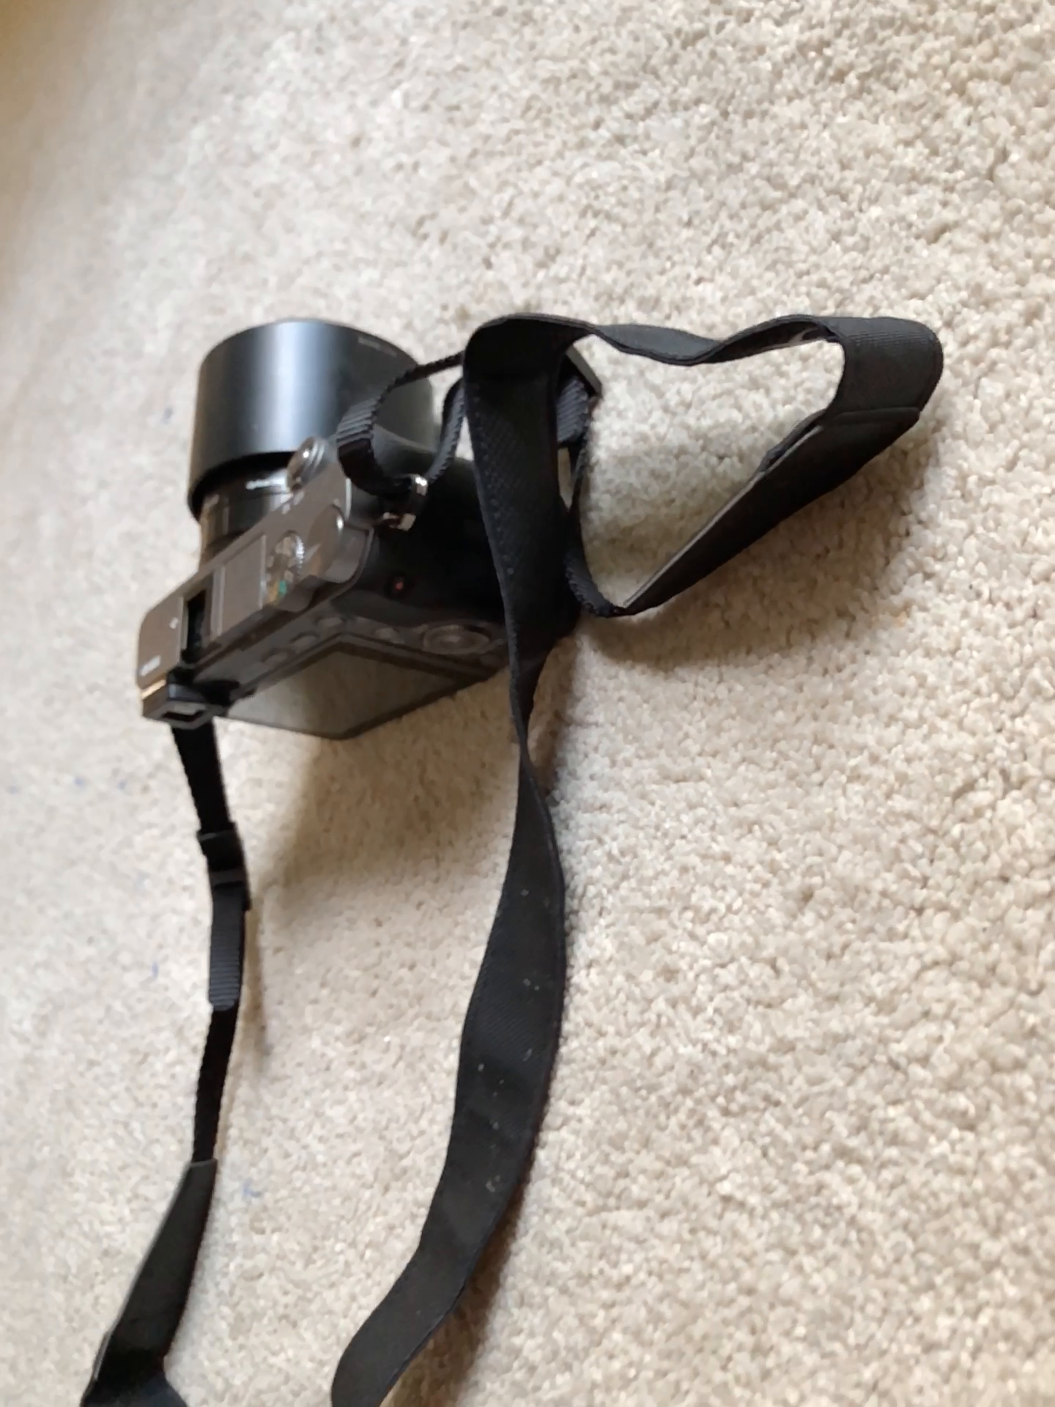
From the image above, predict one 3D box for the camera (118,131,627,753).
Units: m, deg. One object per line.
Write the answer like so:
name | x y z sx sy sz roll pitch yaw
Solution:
camera | -0.044 -0.054 0.303 0.121 0.070 0.100 -22 63 47
